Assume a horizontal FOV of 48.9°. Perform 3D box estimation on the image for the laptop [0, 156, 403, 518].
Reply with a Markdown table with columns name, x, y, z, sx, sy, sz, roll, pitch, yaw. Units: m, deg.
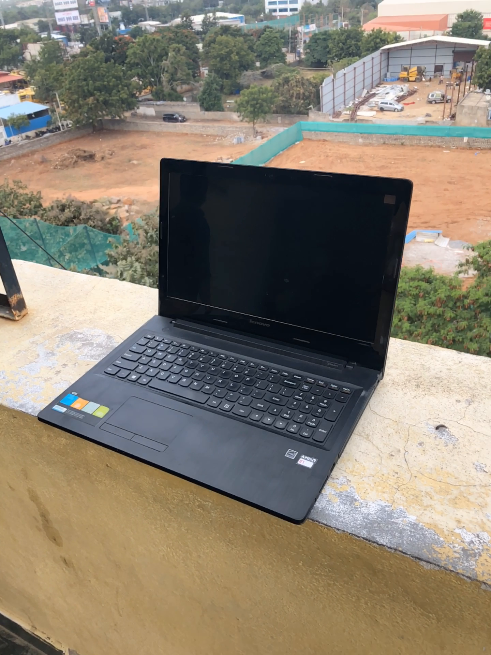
| name | x | y | z | sx | sy | sz | roll | pitch | yaw |
| --- | --- | --- | --- | --- | --- | --- | --- | --- | --- |
| laptop | -0.038 | -0.033 | 0.669 | 0.366 | 0.229 | 0.331 | 14 | 38 | 25 |
